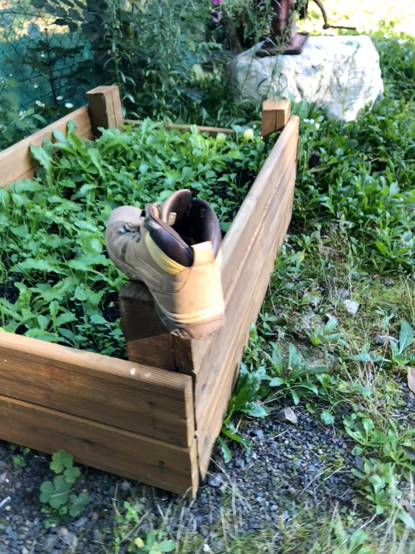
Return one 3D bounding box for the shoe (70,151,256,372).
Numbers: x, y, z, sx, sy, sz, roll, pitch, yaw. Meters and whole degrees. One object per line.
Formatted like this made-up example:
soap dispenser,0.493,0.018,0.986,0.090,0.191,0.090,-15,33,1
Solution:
shoe,-0.070,-0.038,0.599,0.100,0.149,0.281,-21,42,-27
